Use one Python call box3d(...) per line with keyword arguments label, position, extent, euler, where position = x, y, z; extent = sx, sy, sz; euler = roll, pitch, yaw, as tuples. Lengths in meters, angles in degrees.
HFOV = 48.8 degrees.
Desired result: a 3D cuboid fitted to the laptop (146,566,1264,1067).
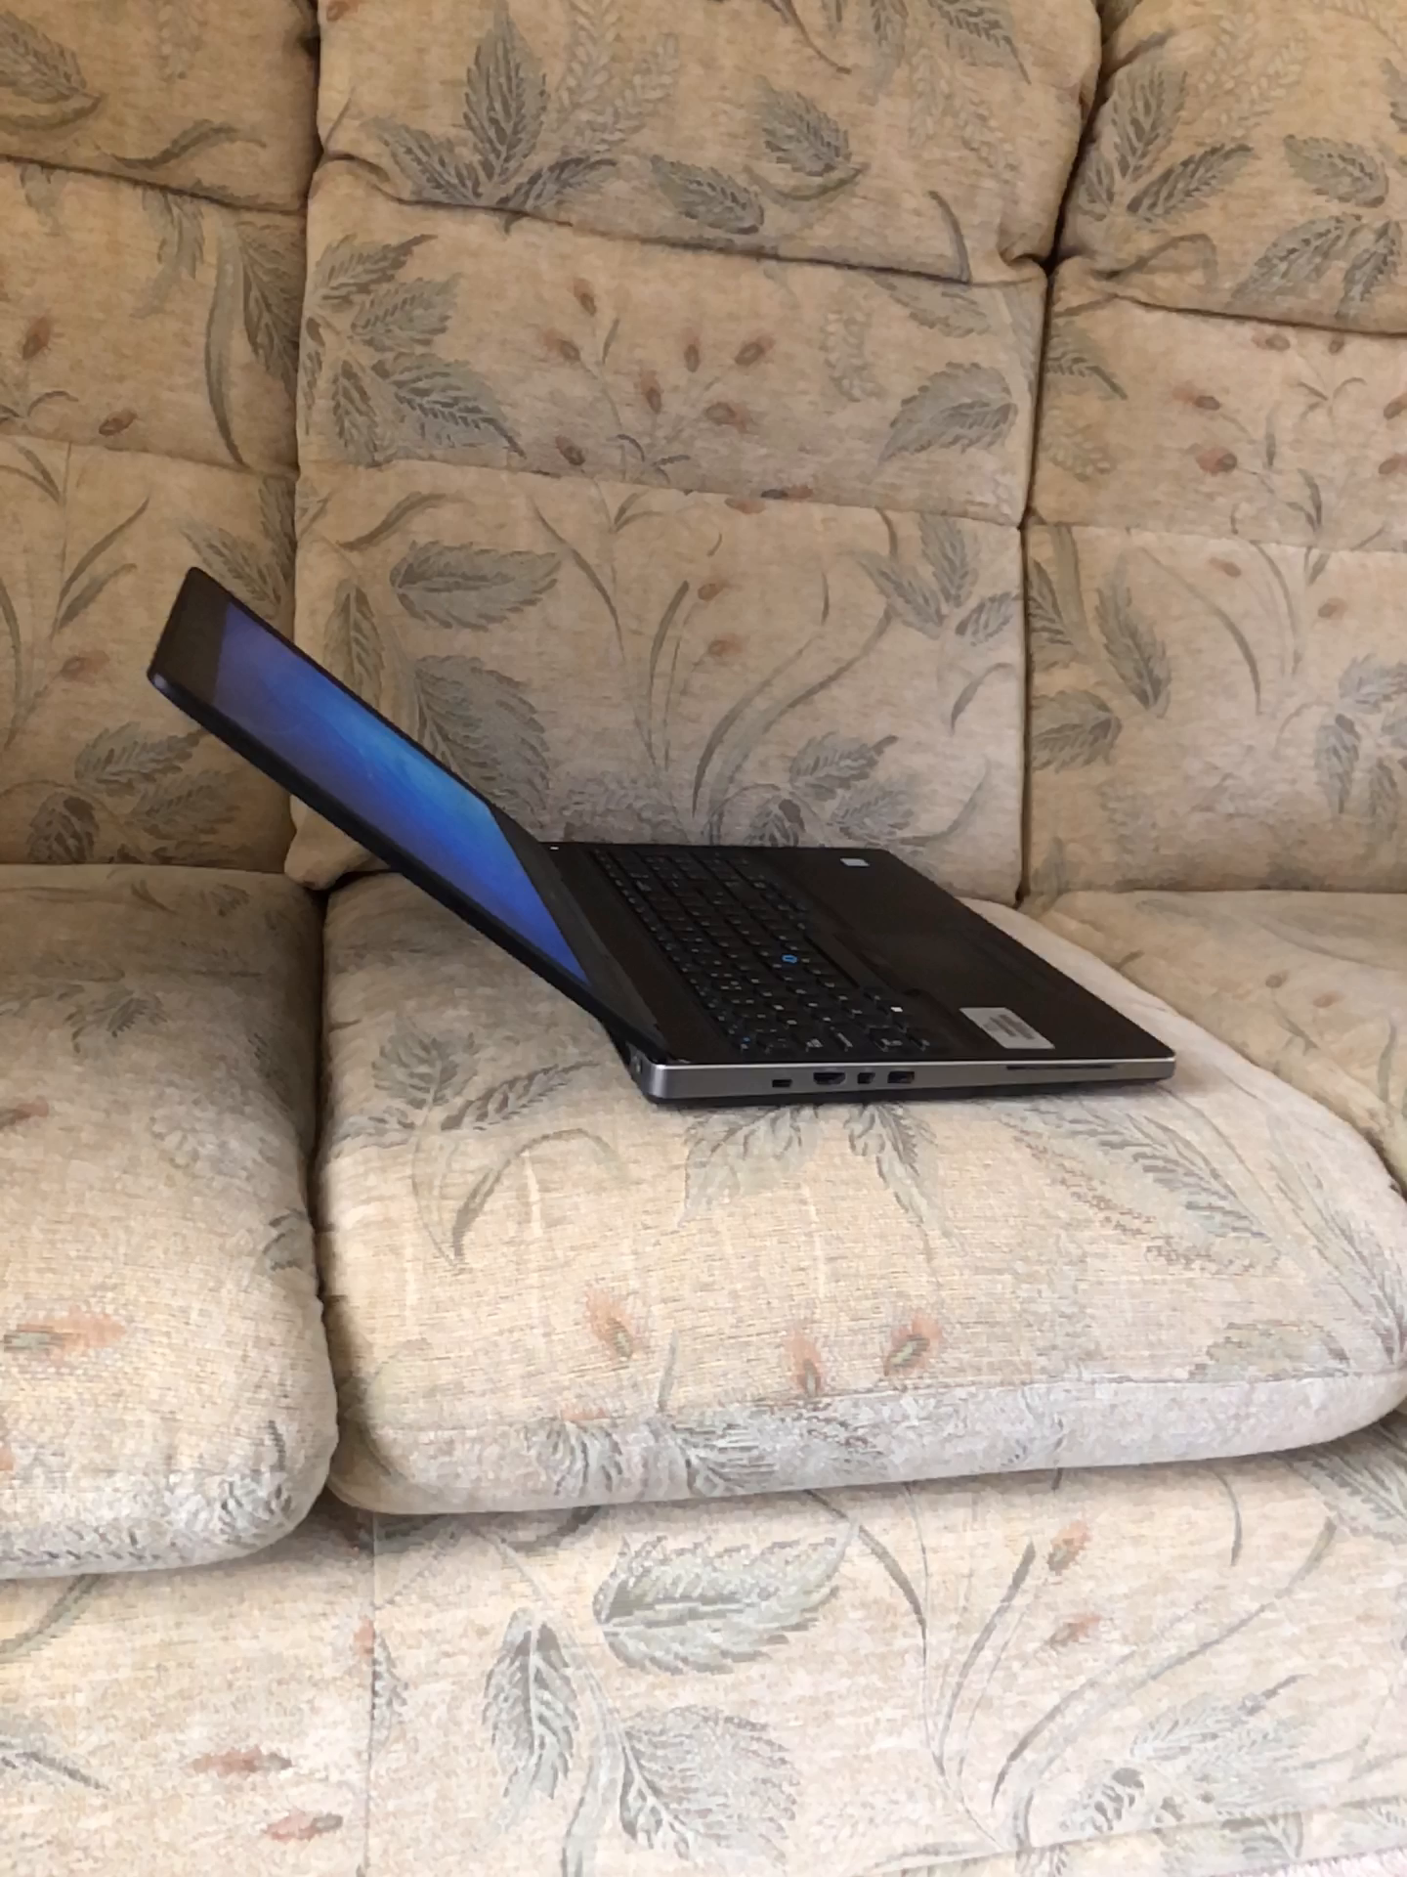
box3d(label="laptop", position=(-0.034, -0.076, 0.799), extent=(0.451, 0.157, 0.357), euler=(0, 20, -16))
